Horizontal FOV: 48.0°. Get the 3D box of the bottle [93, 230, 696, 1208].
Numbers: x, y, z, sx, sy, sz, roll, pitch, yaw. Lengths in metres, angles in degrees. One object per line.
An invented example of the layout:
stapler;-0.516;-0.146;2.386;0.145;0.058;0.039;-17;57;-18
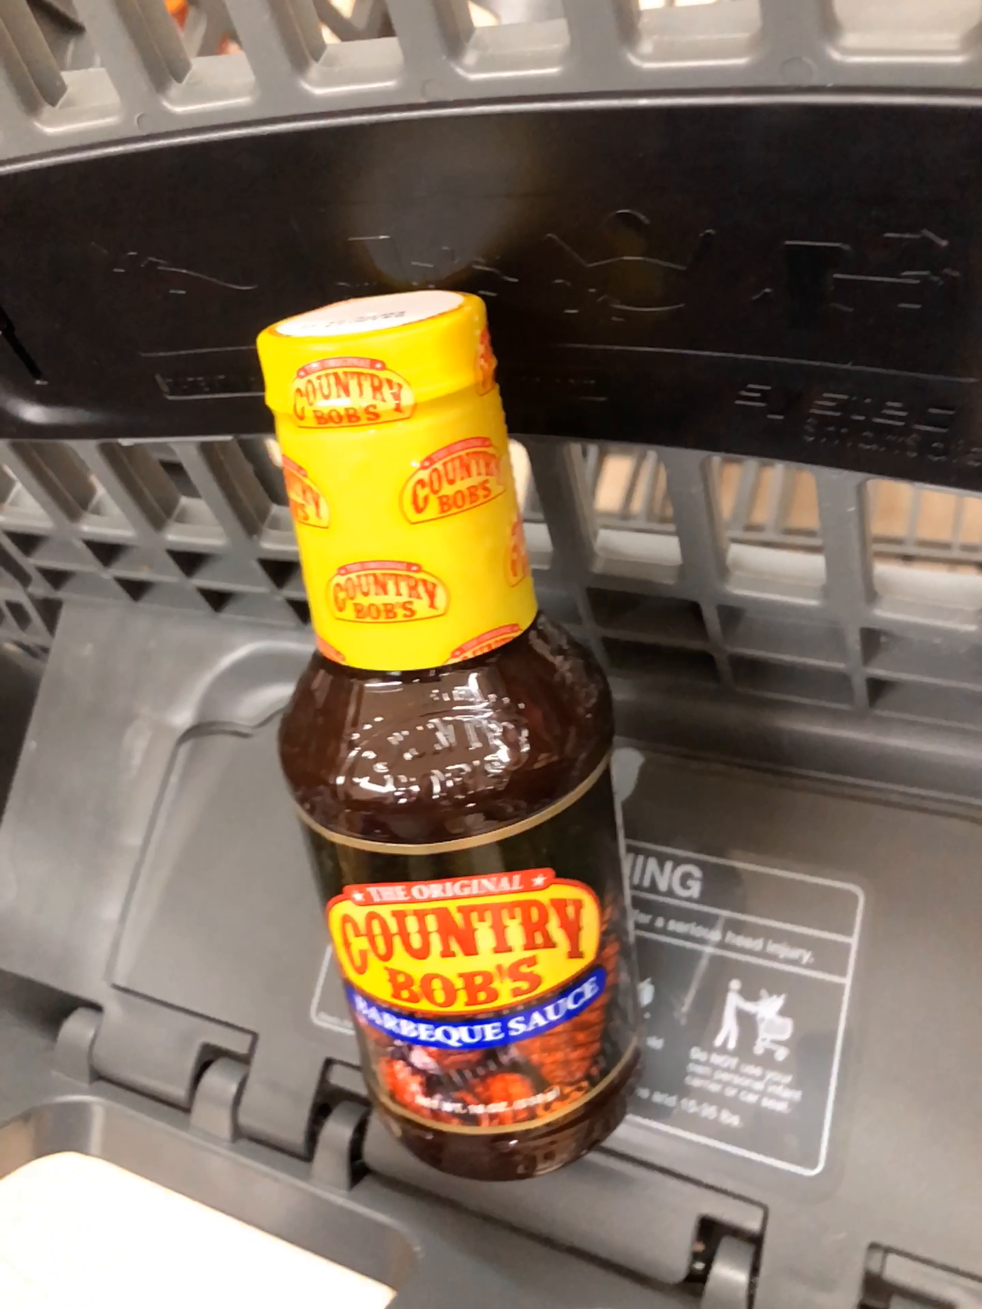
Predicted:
bottle;-0.002;0.013;0.220;0.080;0.080;0.170;-1;115;12
